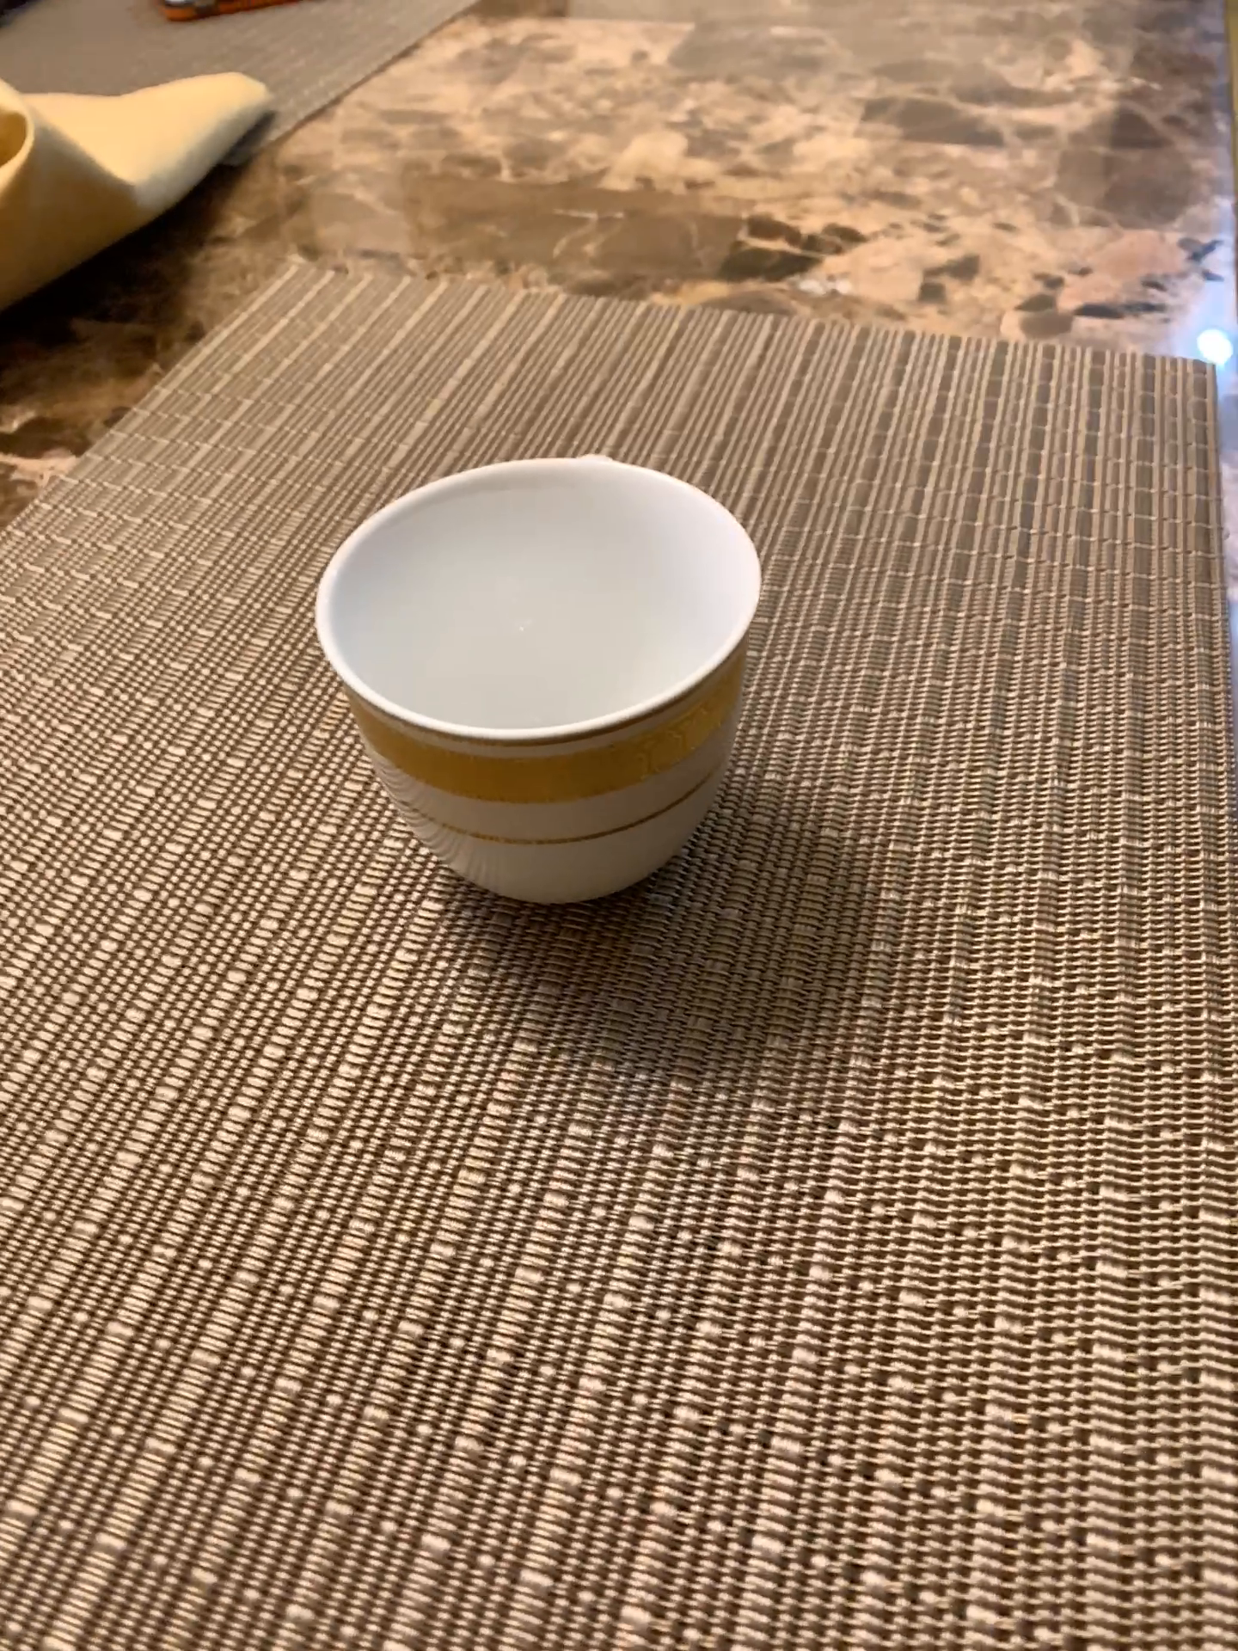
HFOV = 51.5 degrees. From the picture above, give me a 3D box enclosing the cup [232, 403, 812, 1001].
[{"bbox_3d":[-0.010,-0.029,0.249,0.082,0.055,0.104,6,47,9],"label":"cup"}]
